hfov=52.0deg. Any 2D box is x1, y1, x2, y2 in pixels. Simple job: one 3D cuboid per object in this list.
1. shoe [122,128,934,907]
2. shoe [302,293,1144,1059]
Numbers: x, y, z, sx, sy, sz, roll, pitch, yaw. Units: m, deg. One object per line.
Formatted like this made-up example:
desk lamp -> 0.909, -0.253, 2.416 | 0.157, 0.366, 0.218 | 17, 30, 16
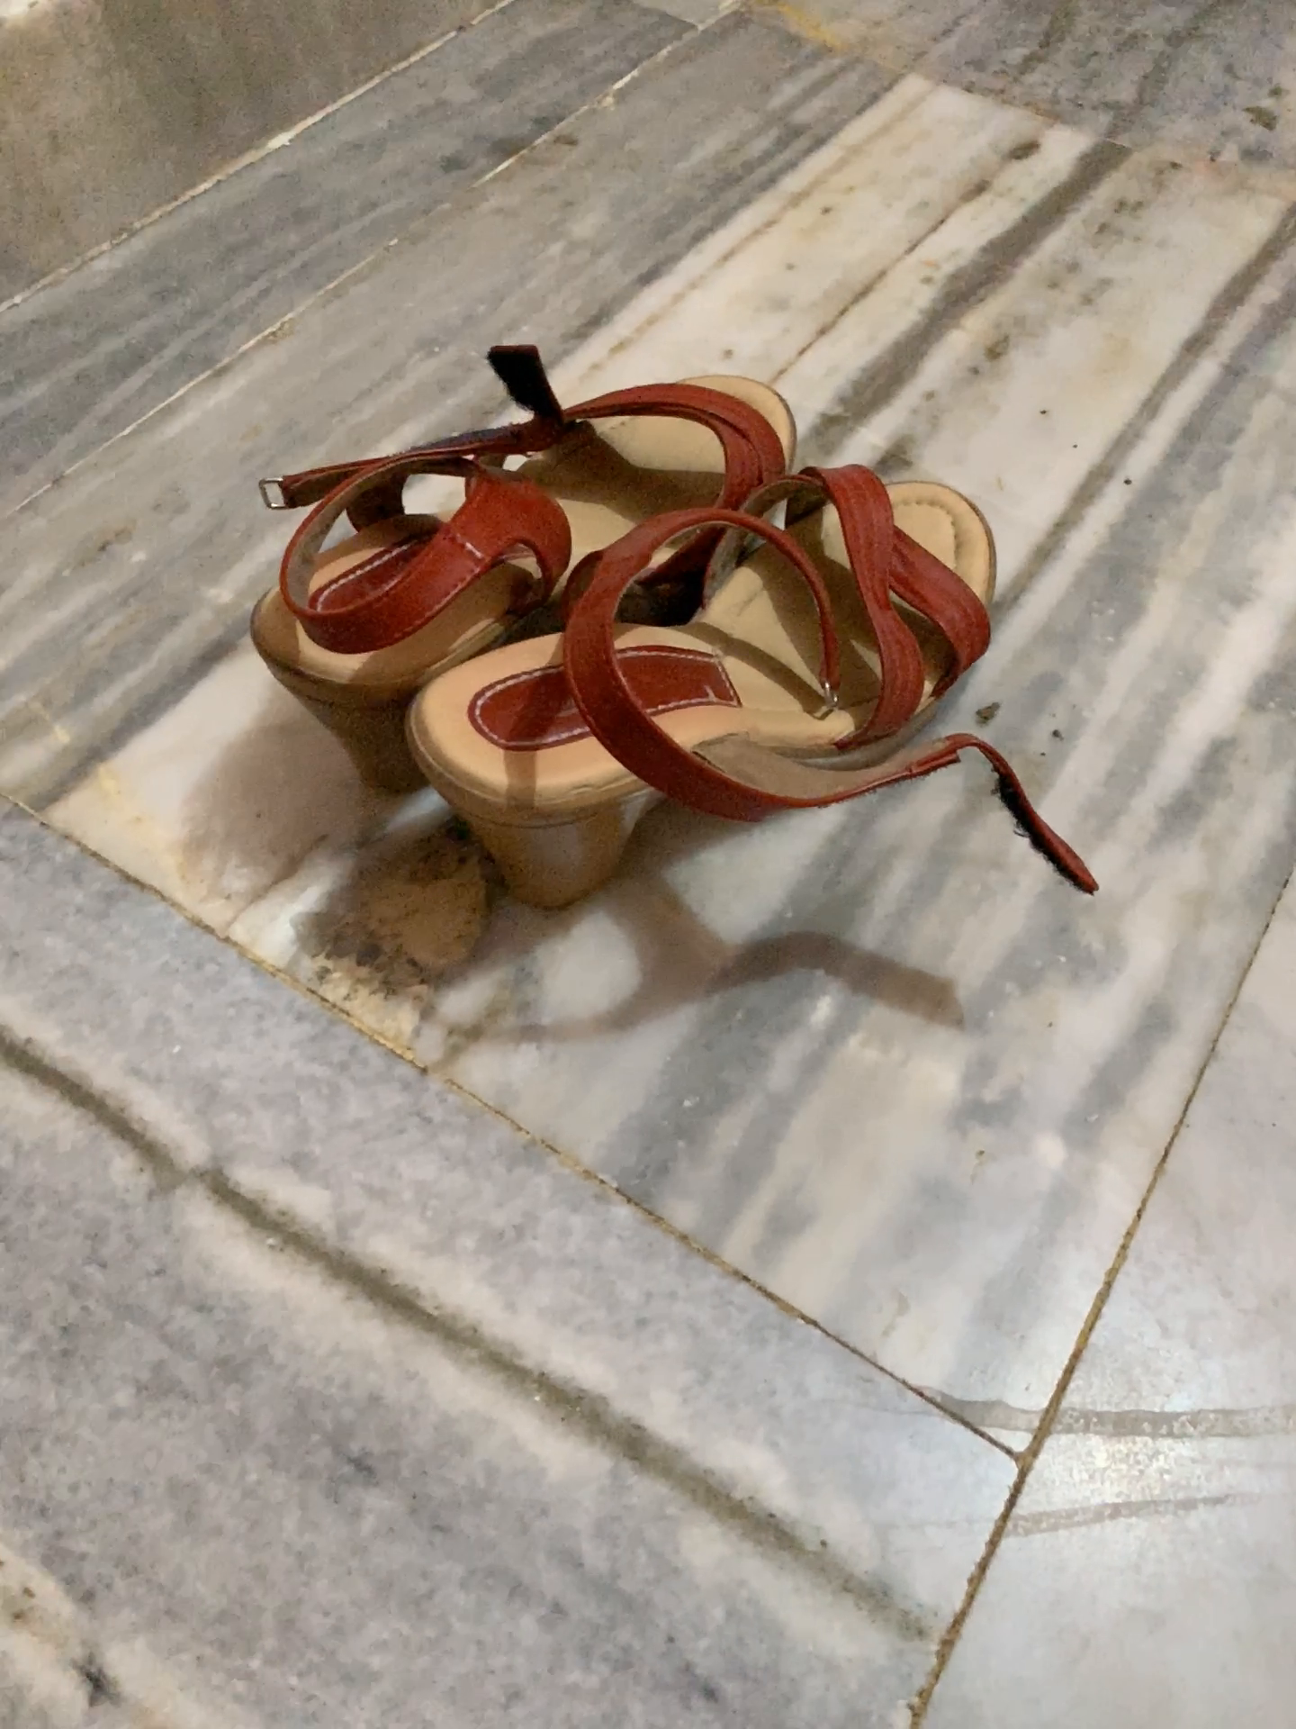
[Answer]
shoe -> -0.024, -0.119, 0.419 | 0.100, 0.100, 0.240 | 32, 60, 19
shoe -> 0.029, -0.068, 0.419 | 0.240, 0.100, 0.100 | -37, 64, -25
